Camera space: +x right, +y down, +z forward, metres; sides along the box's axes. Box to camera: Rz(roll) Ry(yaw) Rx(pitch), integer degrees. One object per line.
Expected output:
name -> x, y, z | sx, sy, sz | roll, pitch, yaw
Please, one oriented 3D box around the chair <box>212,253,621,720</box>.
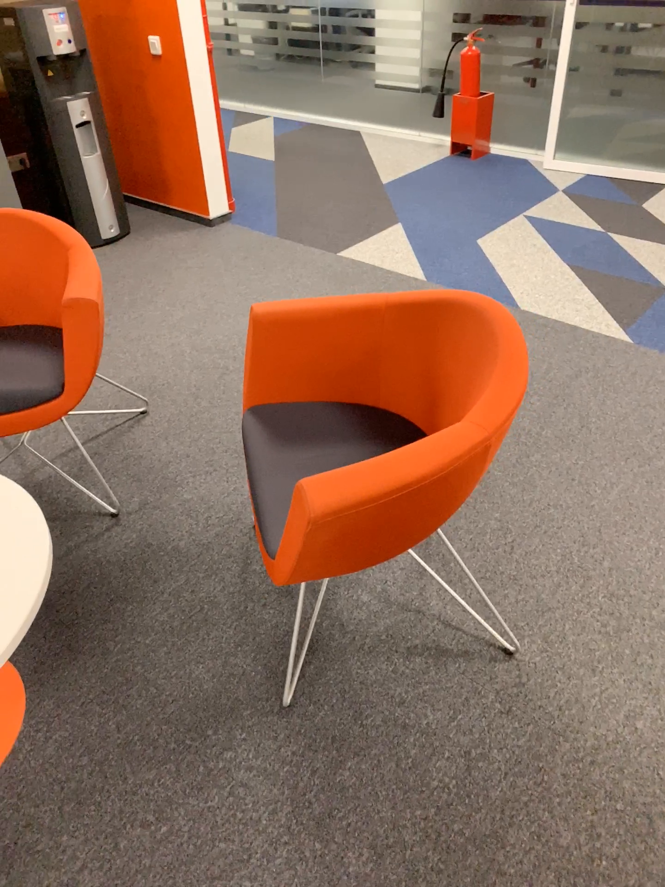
chair -> 0.114, 0.070, 1.521 | 0.620, 0.706, 0.643 | -9, 38, -8
